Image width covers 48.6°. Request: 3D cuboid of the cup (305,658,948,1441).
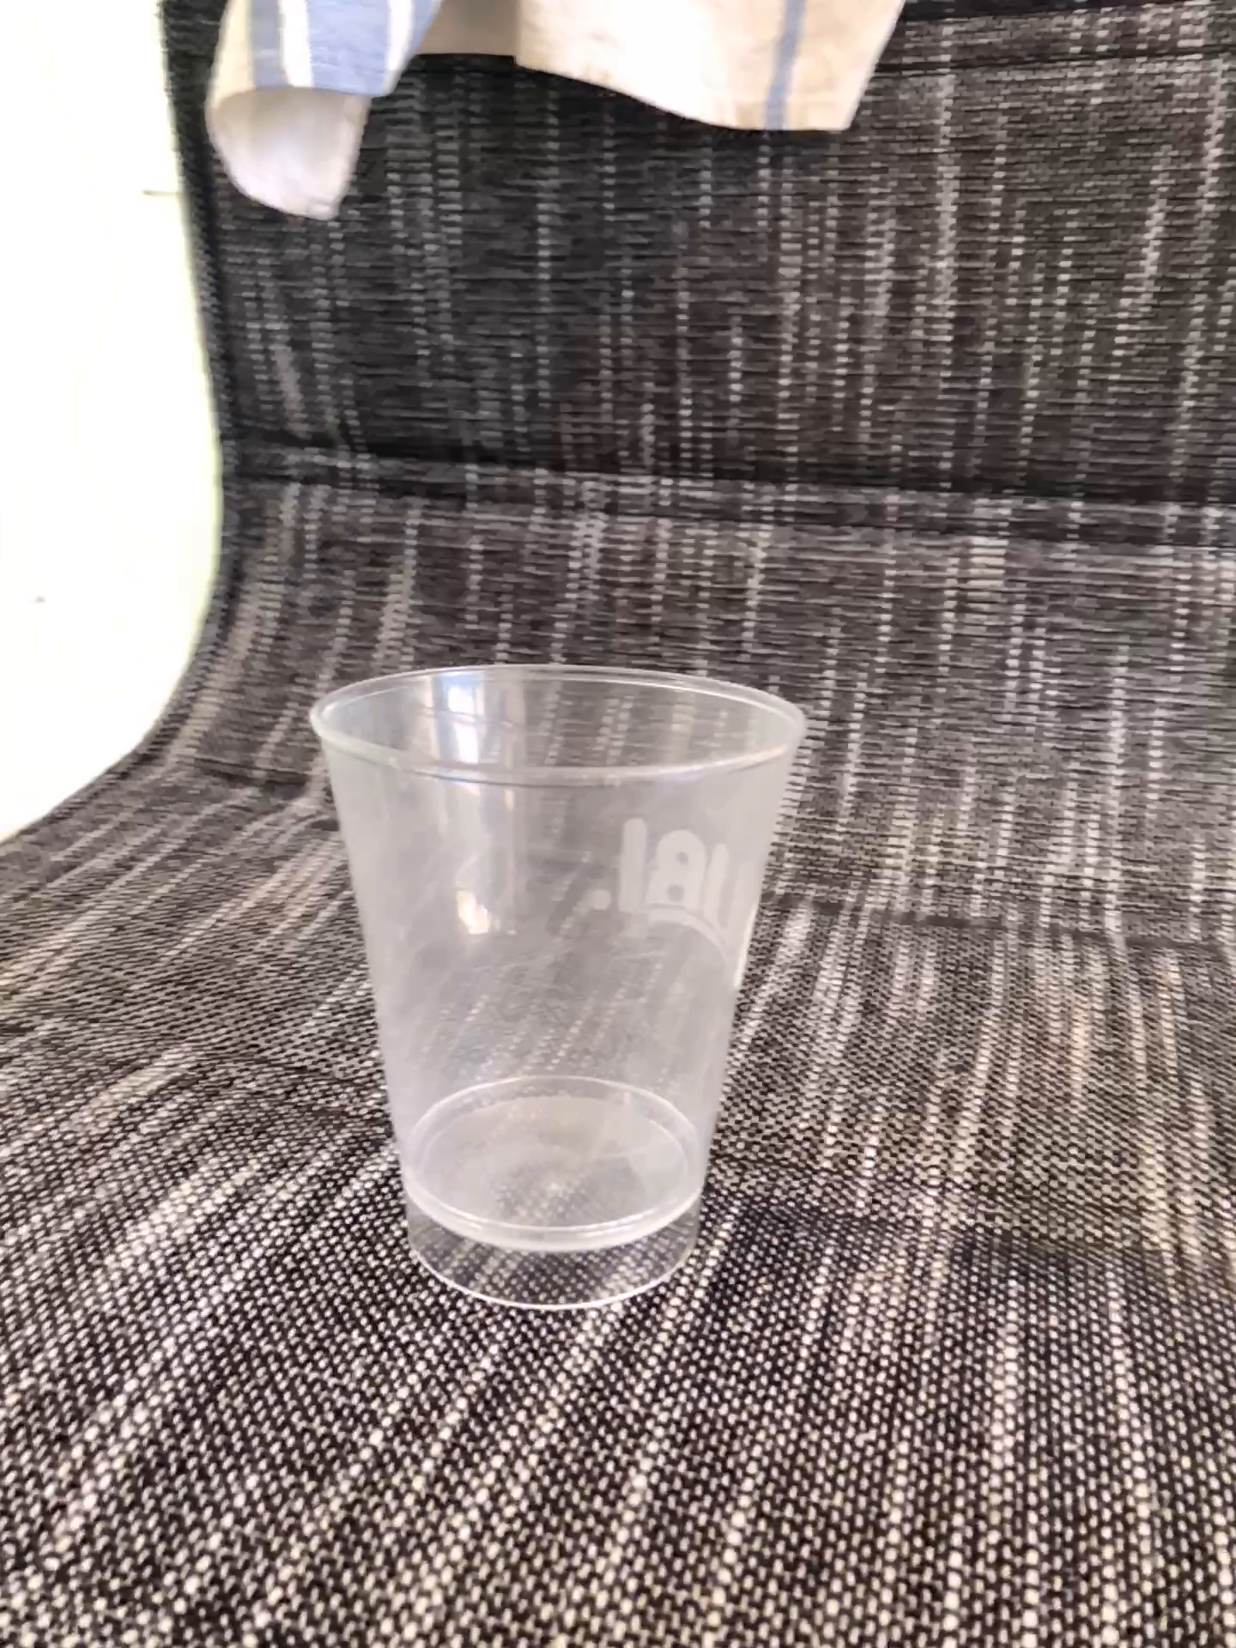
[{"bbox_3d":[-0.004,0.029,0.243,0.080,0.100,0.080,2,17,0],"label":"cup"}]
